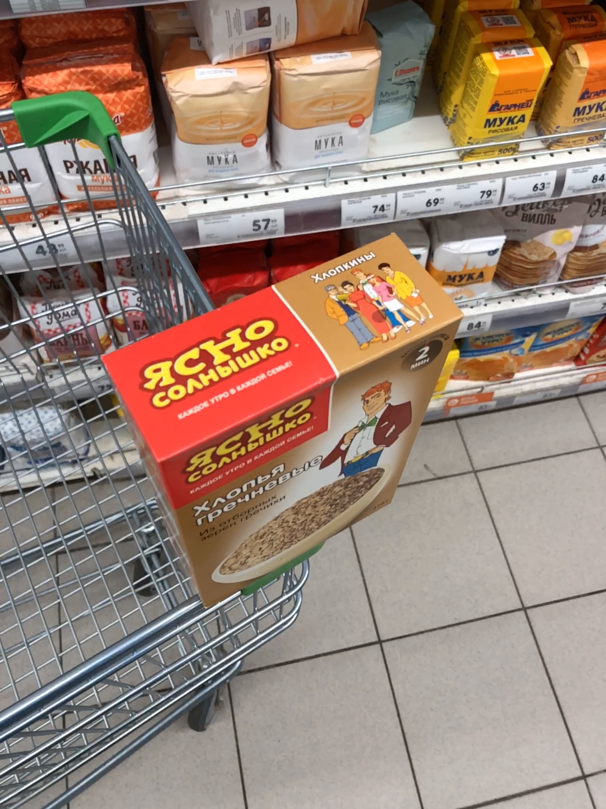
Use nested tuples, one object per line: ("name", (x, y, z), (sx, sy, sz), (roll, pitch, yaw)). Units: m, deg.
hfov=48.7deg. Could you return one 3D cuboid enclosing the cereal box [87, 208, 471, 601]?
("cereal box", (-0.010, 0.015, 0.331), (0.130, 0.189, 0.060), (-25, 64, -16))
